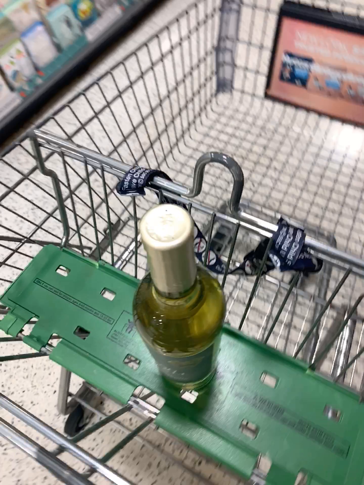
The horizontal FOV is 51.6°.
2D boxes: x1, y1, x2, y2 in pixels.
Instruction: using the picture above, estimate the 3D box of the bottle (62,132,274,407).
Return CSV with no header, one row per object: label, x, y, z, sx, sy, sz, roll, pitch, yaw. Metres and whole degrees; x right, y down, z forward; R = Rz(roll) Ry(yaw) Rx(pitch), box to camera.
bottle,0.002,0.067,0.354,0.080,0.337,0.090,30,65,19
